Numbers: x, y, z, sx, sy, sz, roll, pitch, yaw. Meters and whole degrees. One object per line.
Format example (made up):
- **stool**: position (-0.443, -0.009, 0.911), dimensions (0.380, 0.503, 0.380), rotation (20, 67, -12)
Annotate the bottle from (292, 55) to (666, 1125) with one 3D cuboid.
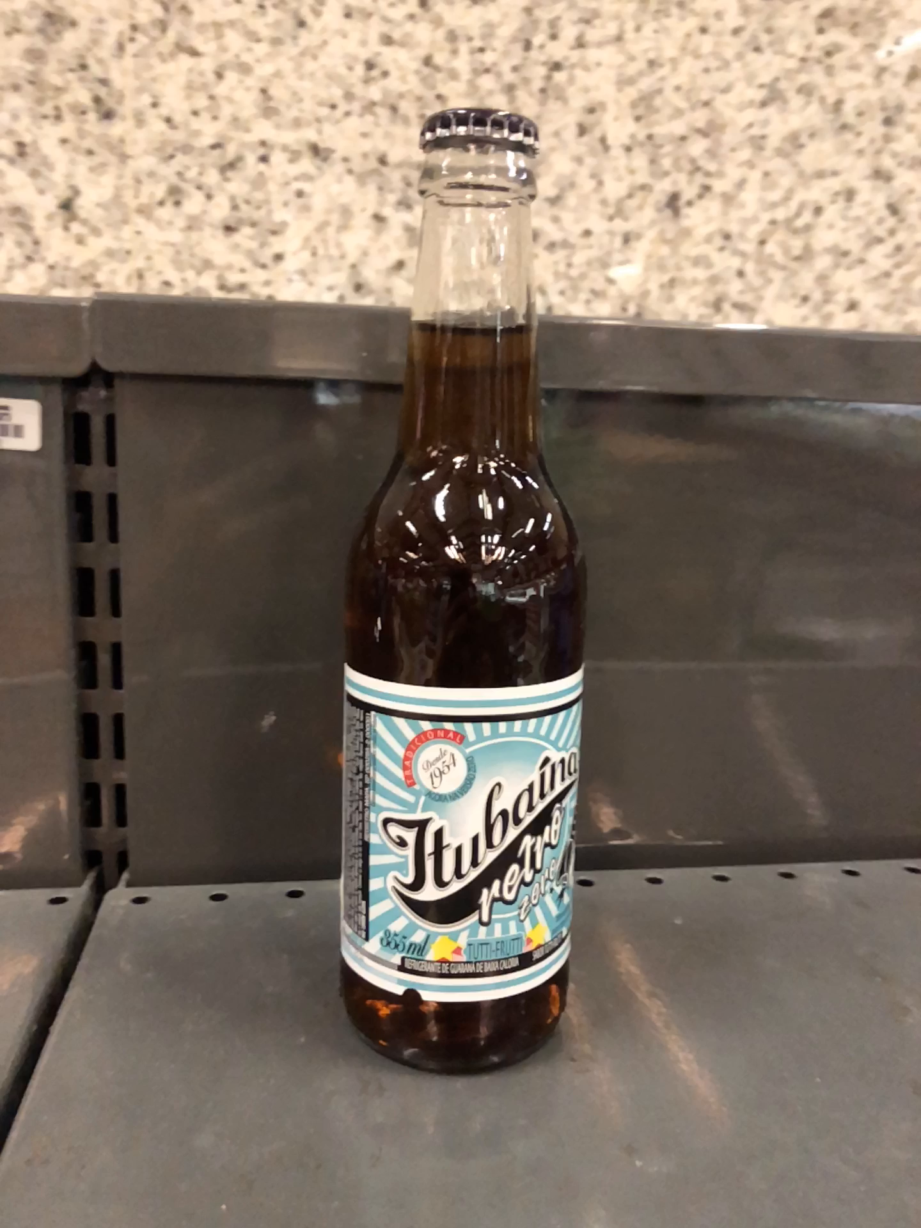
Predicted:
- **bottle**: position (-0.002, 0.001, 0.260), dimensions (0.070, 0.239, 0.050), rotation (-2, 13, -21)
